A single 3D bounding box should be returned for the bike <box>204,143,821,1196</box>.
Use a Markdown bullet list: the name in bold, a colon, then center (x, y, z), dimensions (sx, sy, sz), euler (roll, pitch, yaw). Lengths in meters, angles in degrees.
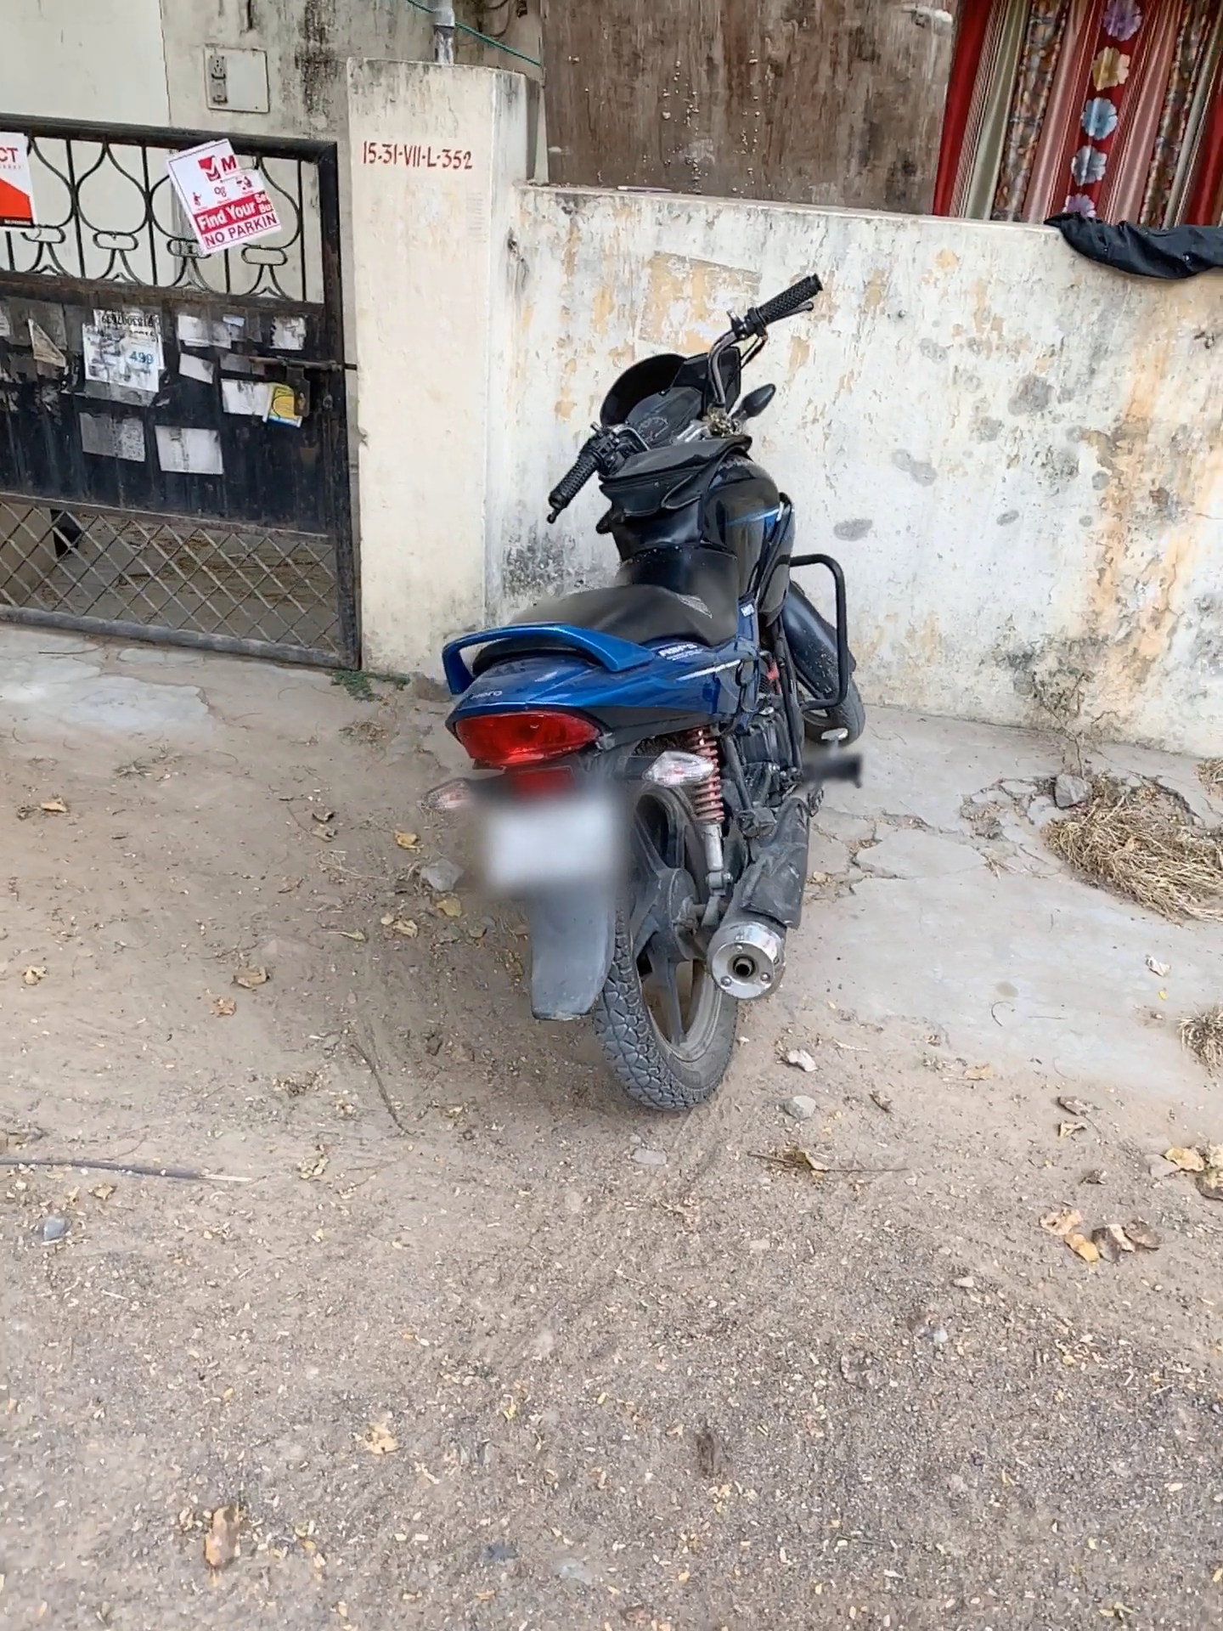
- **bike**: center (-0.087, -0.498, 2.446), dimensions (0.754, 1.233, 1.712), euler (7, 32, 5)
